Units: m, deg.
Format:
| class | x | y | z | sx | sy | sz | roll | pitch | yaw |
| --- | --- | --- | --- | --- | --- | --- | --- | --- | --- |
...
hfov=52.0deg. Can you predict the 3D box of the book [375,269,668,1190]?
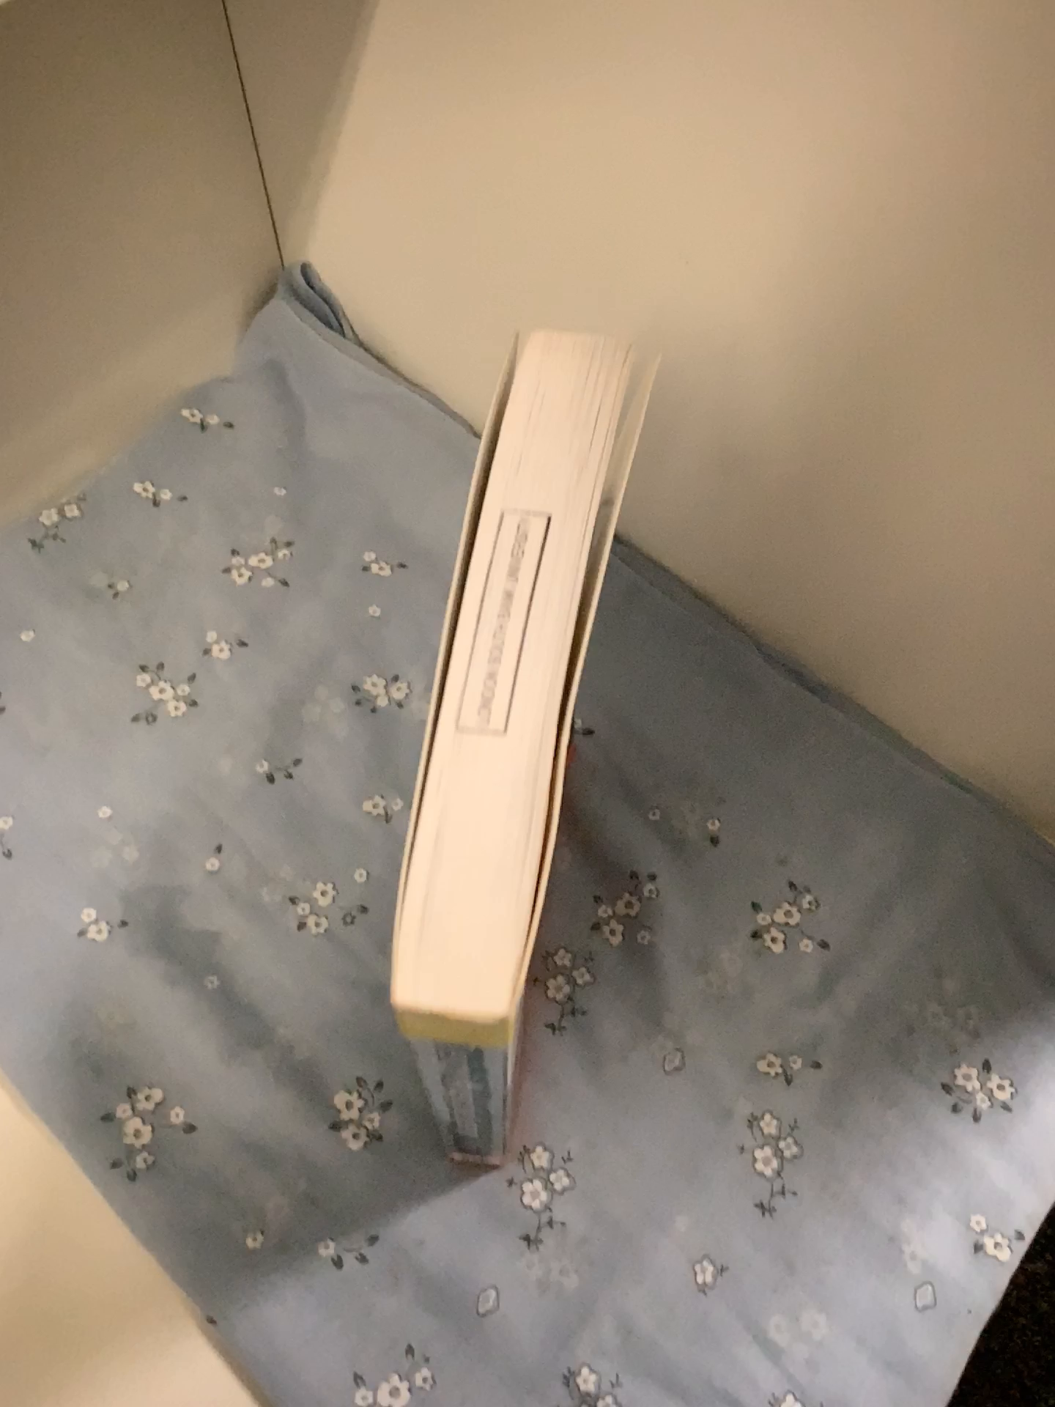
| class | x | y | z | sx | sy | sz | roll | pitch | yaw |
| --- | --- | --- | --- | --- | --- | --- | --- | --- | --- |
| book | 0.002 | 0.036 | 0.377 | 0.040 | 0.270 | 0.217 | 8 | 60 | 2 |
